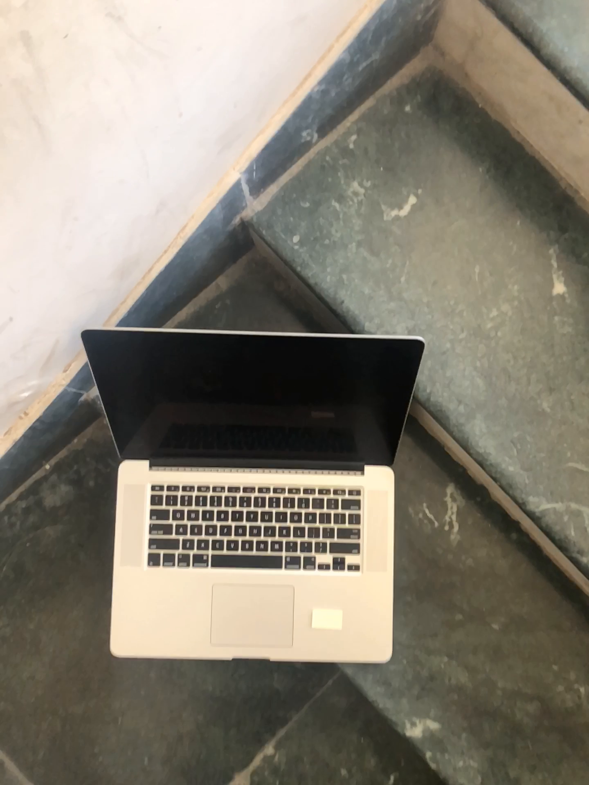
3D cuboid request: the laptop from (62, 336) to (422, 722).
[{"bbox_3d":[-0.049,0.136,0.730,0.341,0.195,0.363,2,84,0],"label":"laptop"}]
